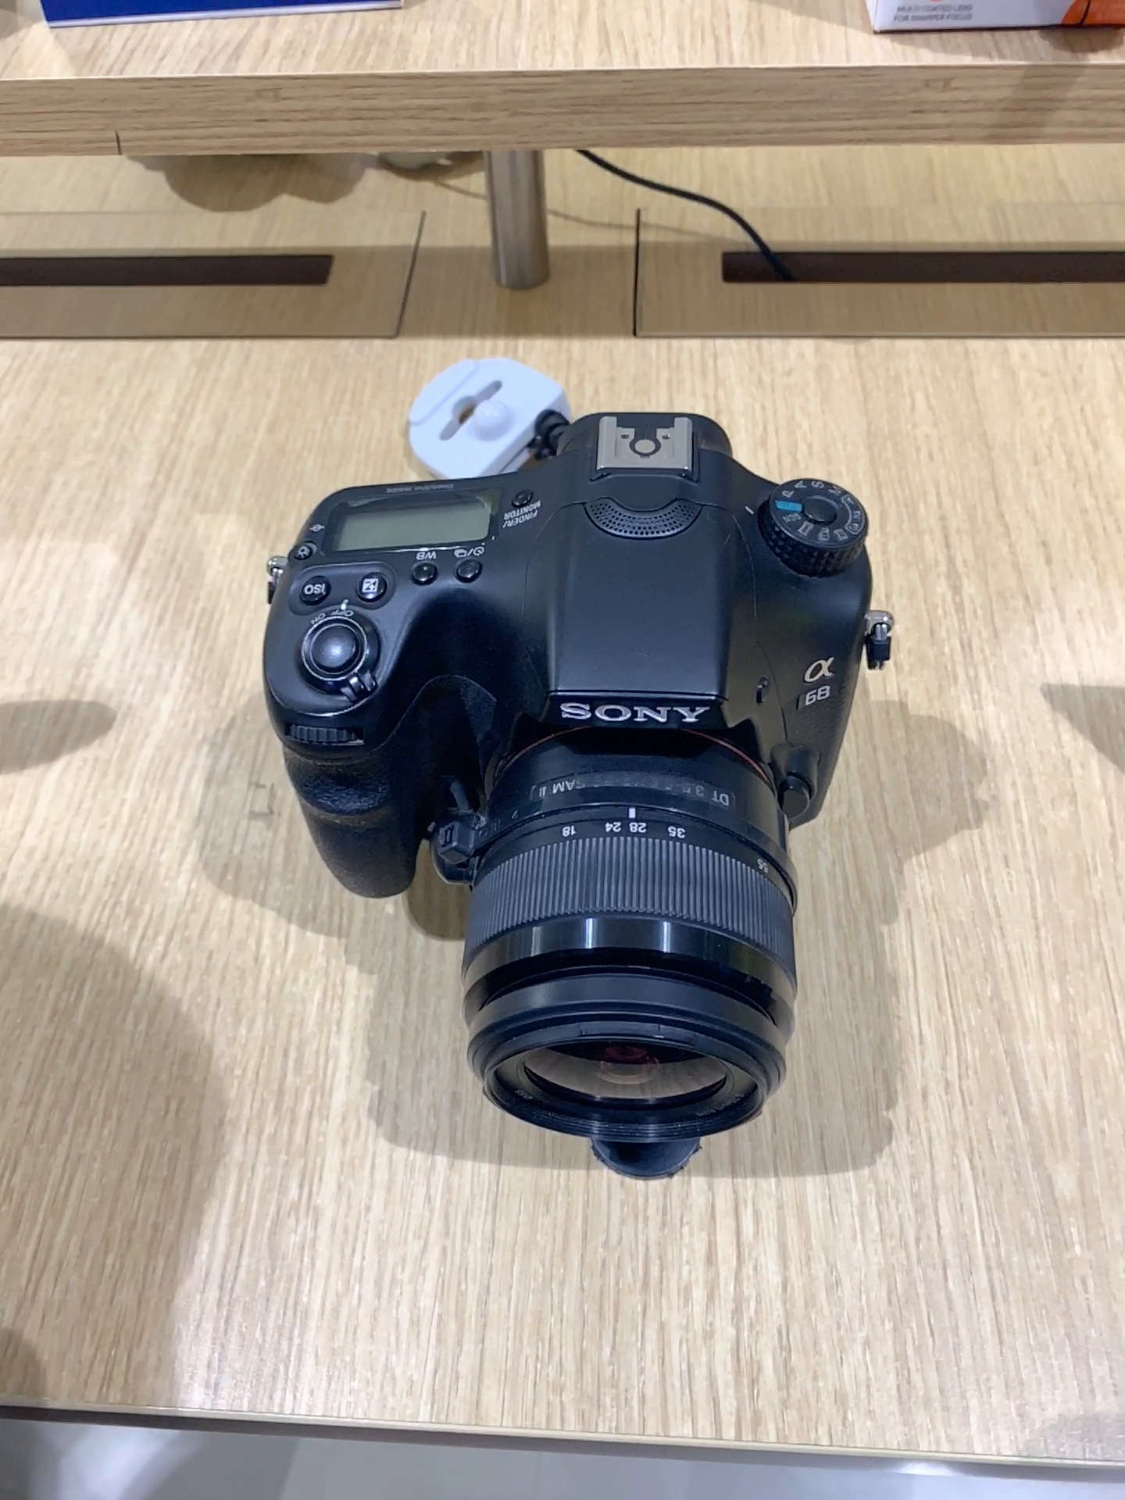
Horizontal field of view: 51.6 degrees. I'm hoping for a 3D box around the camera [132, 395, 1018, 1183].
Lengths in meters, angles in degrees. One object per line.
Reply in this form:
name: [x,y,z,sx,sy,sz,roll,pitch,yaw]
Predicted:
camera: [0.004,0.009,0.250,0.130,0.100,0.135,0,55,3]
